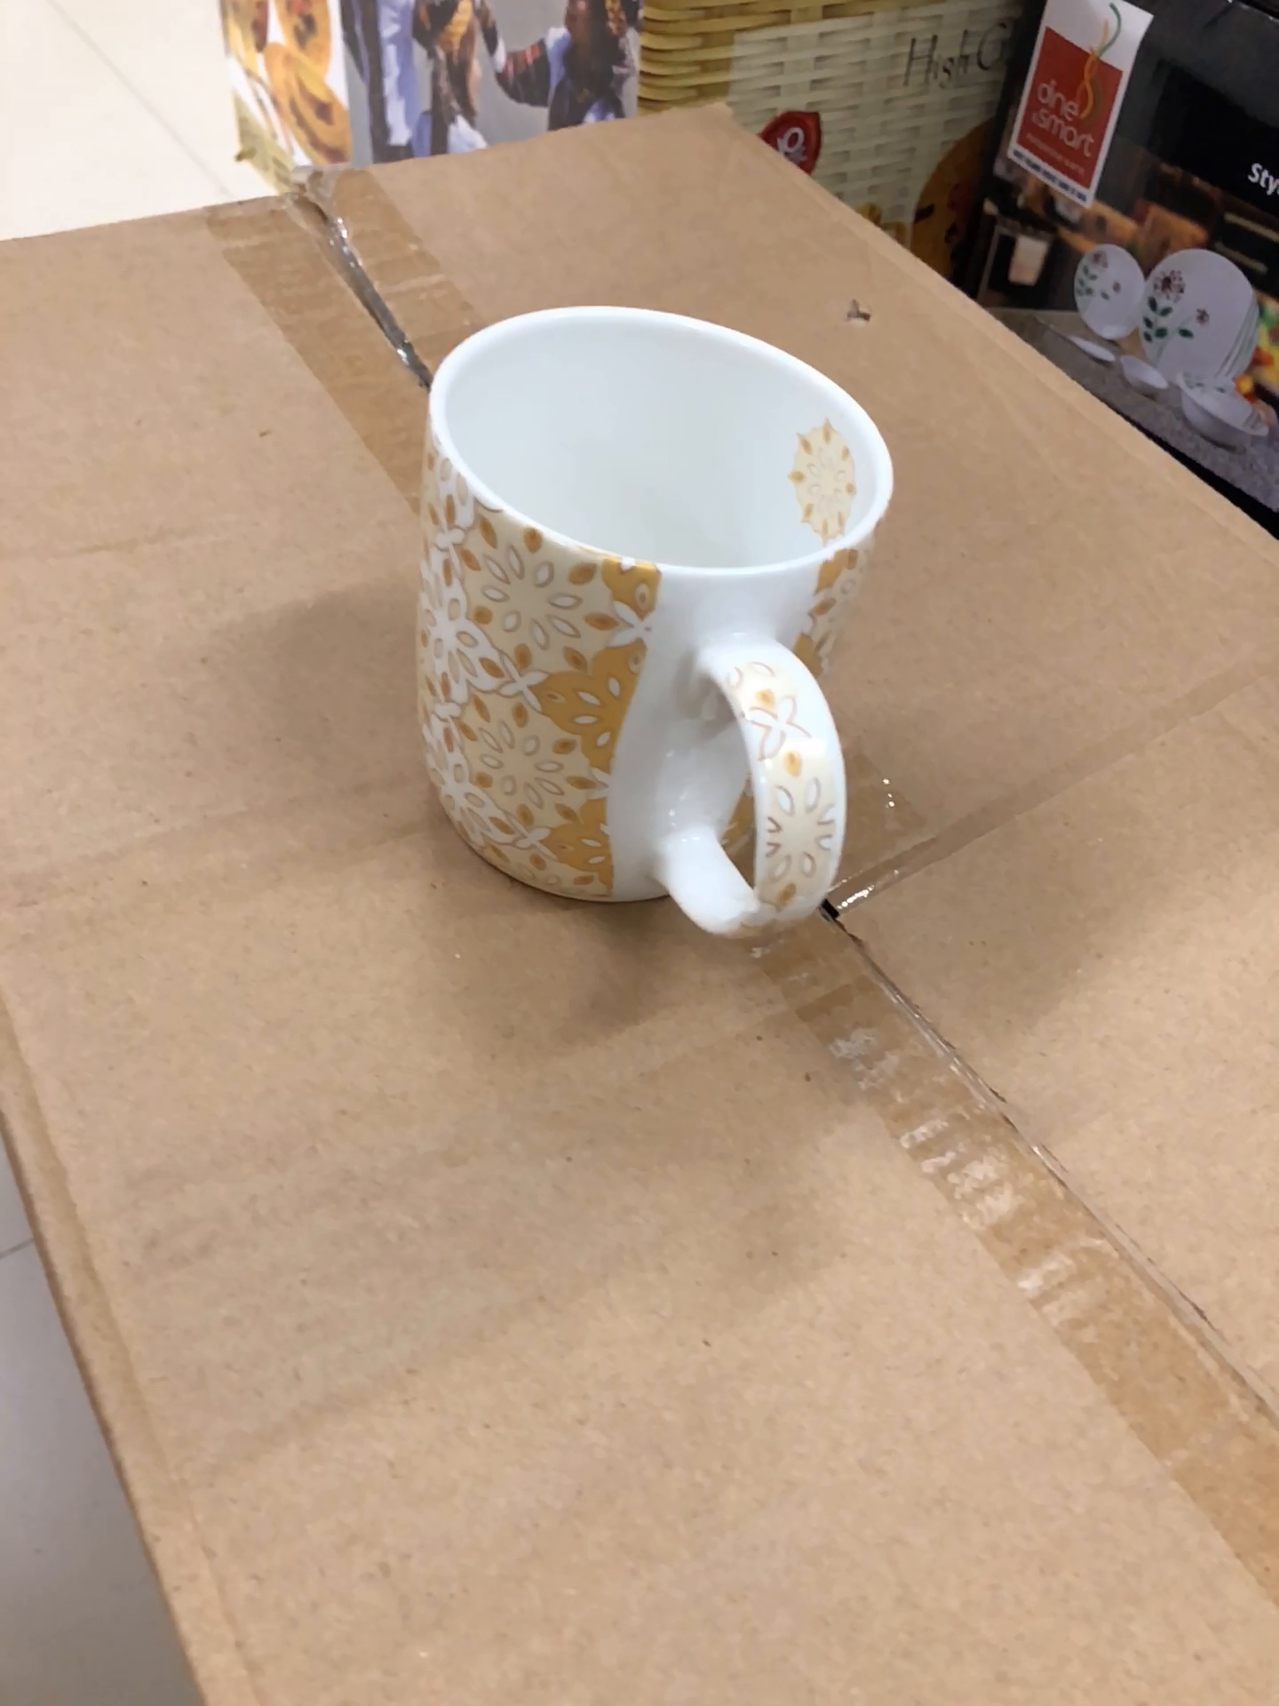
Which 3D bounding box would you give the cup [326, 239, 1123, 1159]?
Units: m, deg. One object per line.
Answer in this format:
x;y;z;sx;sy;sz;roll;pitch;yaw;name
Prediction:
0.000;-0.031;0.245;0.080;0.089;0.120;-11;53;-20;cup
